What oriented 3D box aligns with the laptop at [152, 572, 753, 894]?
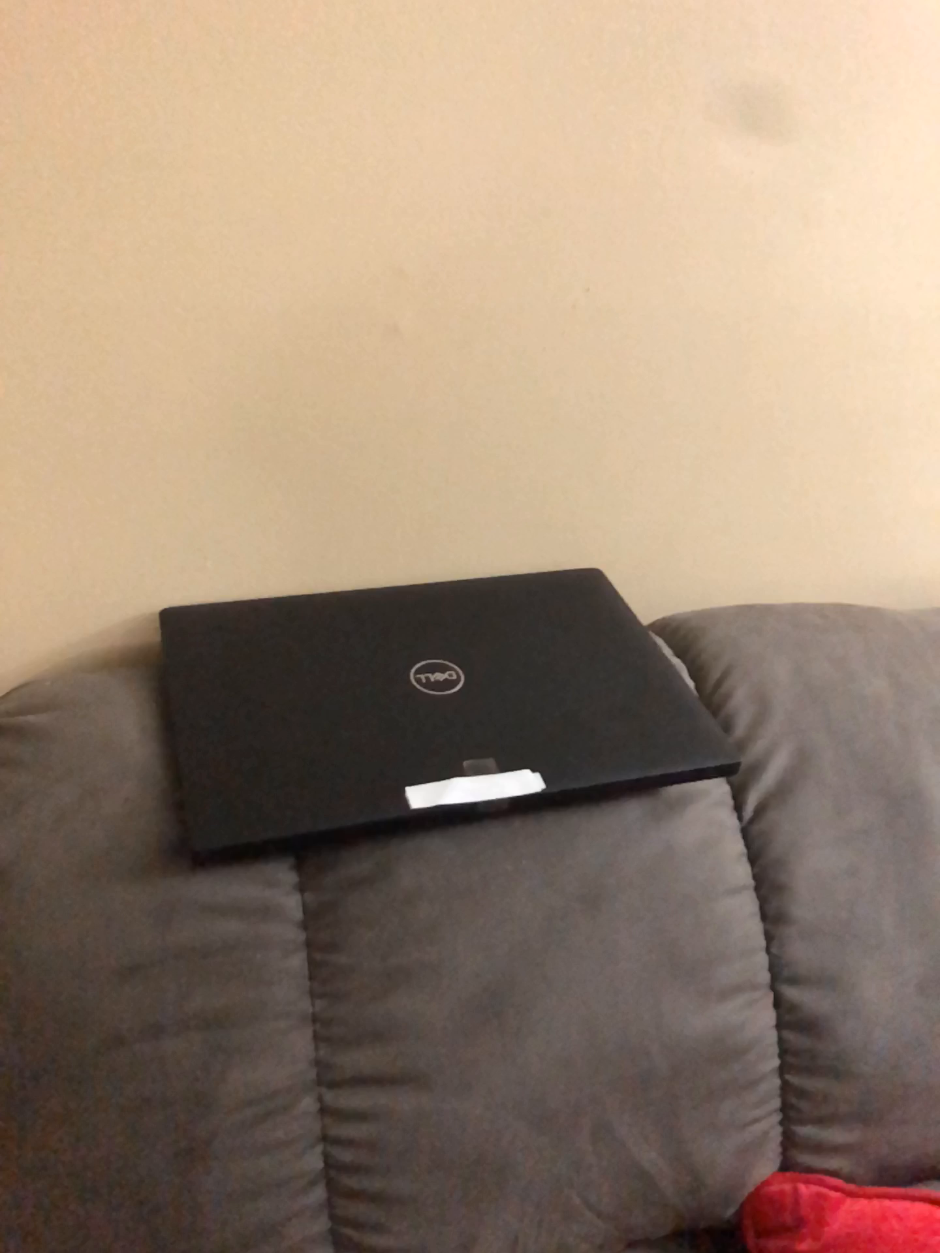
[{"bbox_3d":[-0.022,0.049,0.660,0.326,0.030,0.215,-6,37,-17],"label":"laptop"}]
